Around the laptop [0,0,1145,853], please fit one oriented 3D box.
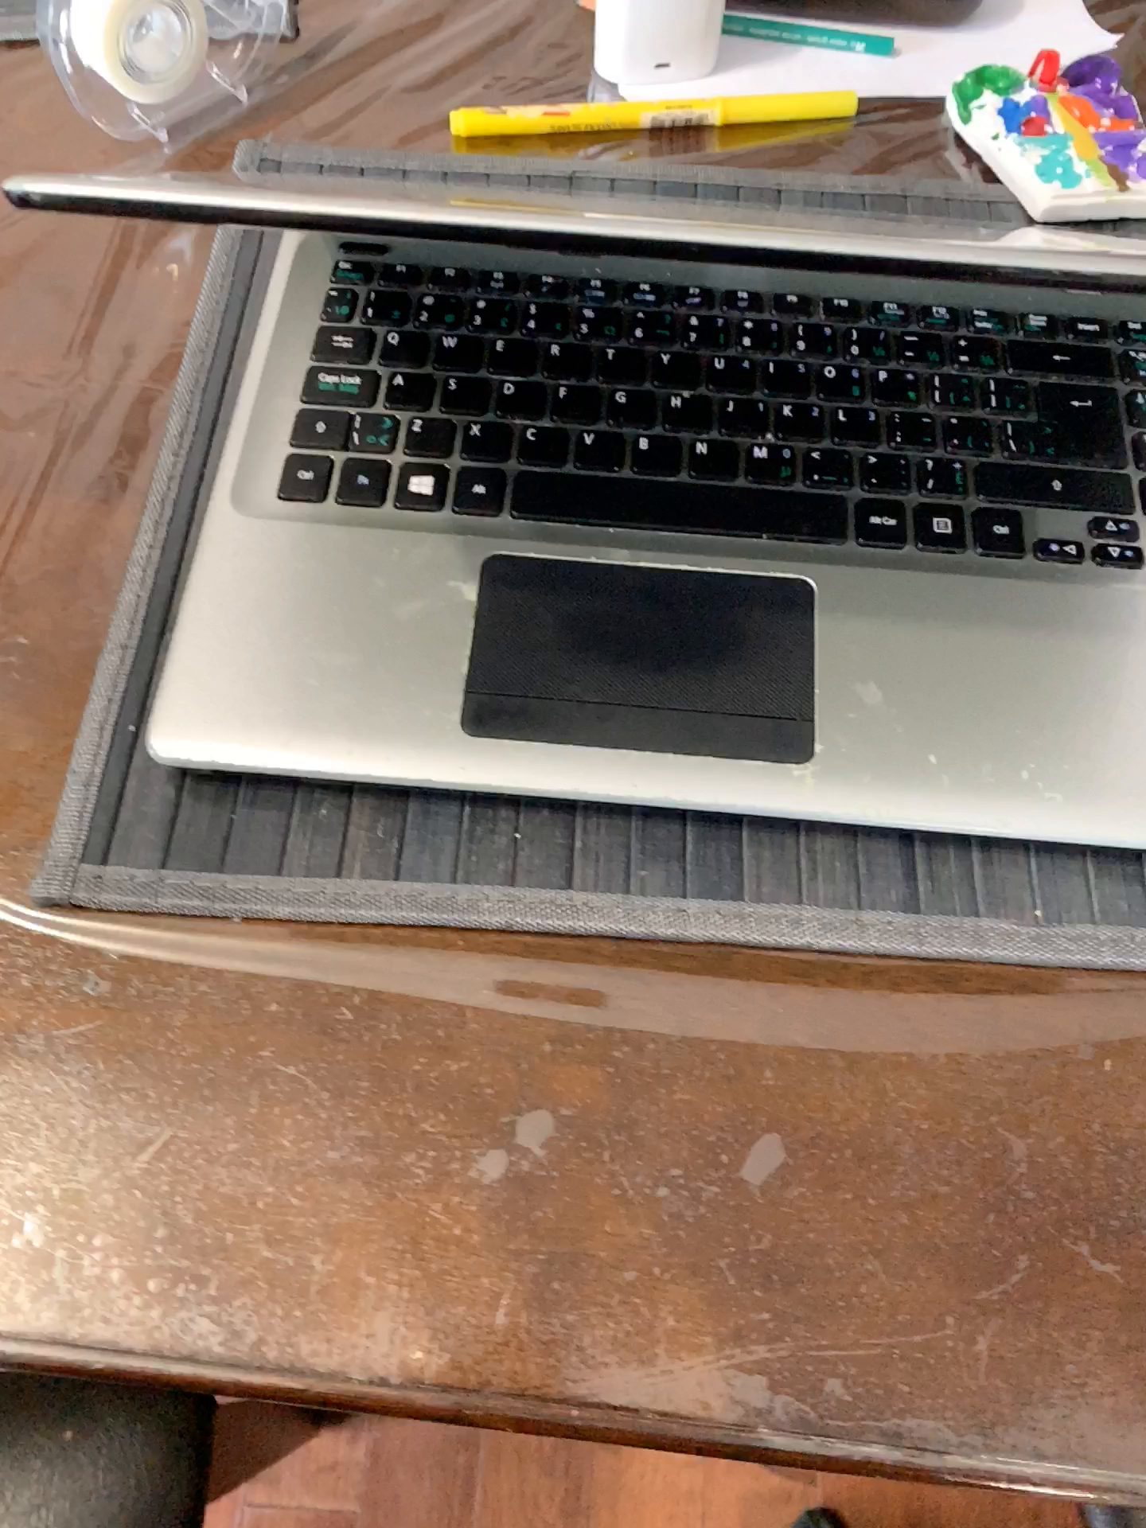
[{"bbox_3d":[0.056,-0.121,0.330,0.343,0.141,0.225,5,65,1],"label":"laptop"}]
